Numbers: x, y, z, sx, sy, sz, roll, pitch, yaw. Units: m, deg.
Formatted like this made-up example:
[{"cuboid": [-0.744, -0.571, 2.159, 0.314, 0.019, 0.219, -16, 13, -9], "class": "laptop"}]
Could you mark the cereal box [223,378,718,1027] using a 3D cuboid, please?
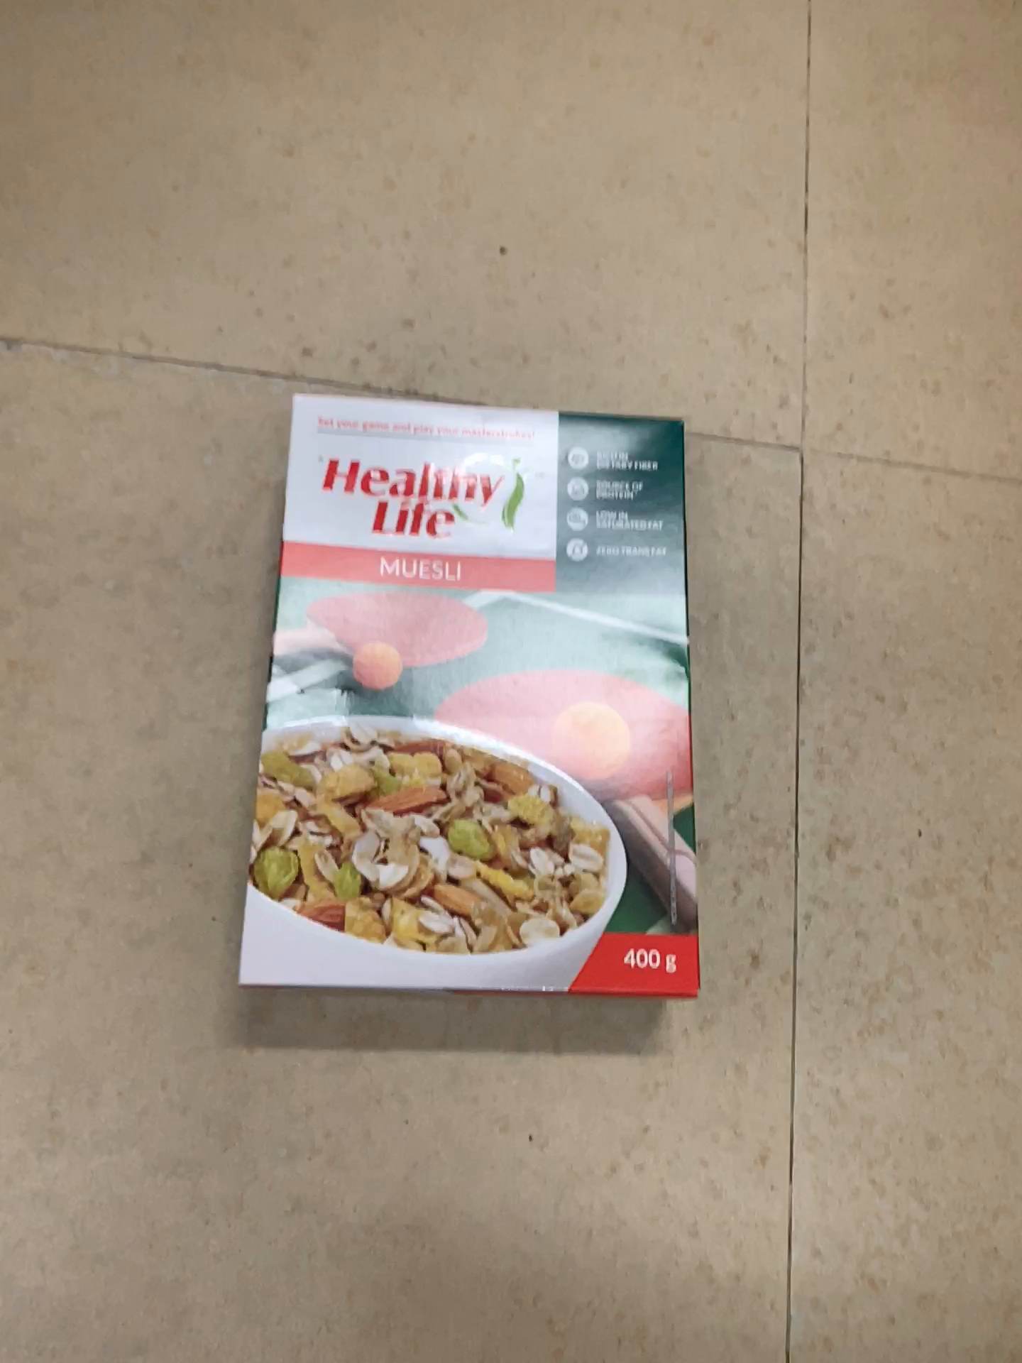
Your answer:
[{"cuboid": [-0.013, 0.011, 0.409, 0.160, 0.080, 0.230, 3, 73, -6], "class": "cereal box"}]
